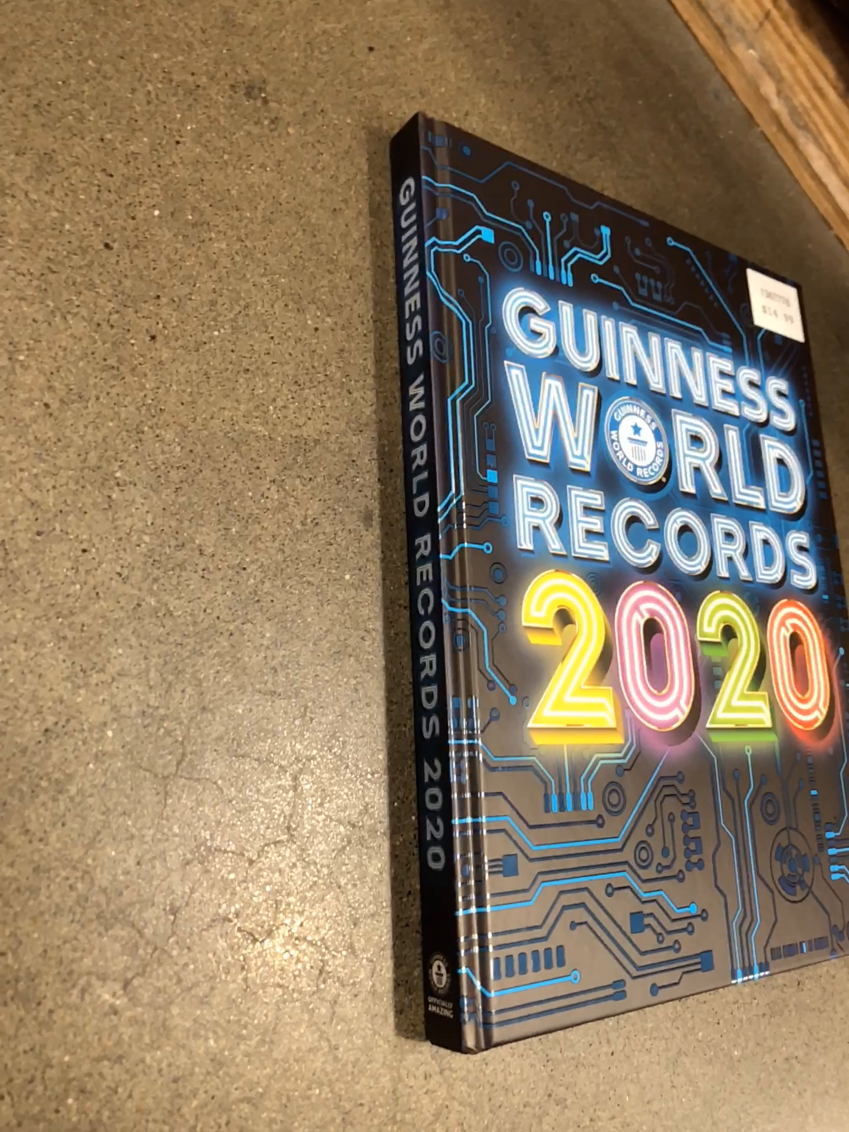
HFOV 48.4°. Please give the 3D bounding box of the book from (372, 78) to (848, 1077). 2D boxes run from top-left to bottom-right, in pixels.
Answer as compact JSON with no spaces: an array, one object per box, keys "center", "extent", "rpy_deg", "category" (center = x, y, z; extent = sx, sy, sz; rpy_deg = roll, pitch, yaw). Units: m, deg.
[{"center":[0.094,-0.001,0.369],"extent":[0.241,0.030,0.312],"rpy_deg":[7,74,-35],"category":"book"}]
